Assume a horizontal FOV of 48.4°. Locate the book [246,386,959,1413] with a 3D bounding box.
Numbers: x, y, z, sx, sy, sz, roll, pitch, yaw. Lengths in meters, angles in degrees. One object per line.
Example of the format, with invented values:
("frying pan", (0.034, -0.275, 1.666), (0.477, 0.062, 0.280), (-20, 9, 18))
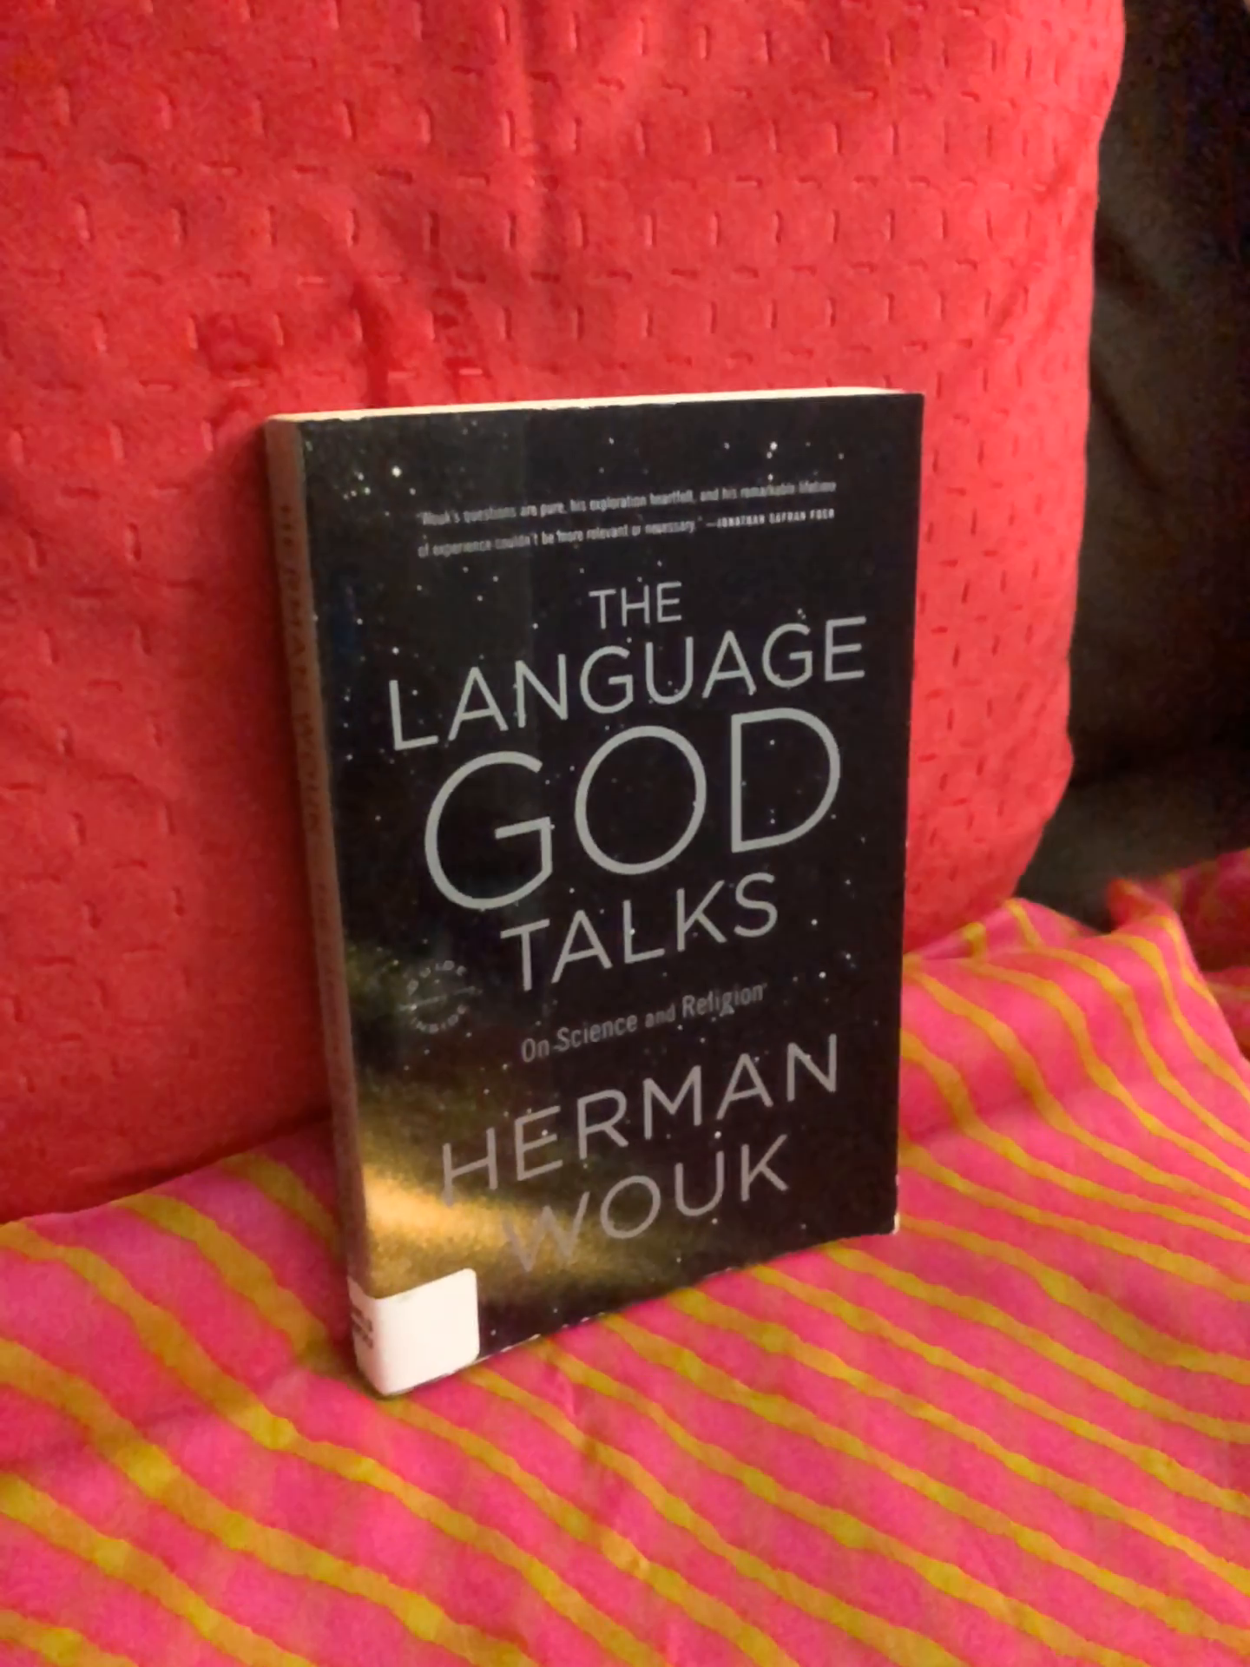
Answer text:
("book", (0.002, 0.011, 0.300), (0.138, 0.199, 0.030), (-11, 22, -26))
